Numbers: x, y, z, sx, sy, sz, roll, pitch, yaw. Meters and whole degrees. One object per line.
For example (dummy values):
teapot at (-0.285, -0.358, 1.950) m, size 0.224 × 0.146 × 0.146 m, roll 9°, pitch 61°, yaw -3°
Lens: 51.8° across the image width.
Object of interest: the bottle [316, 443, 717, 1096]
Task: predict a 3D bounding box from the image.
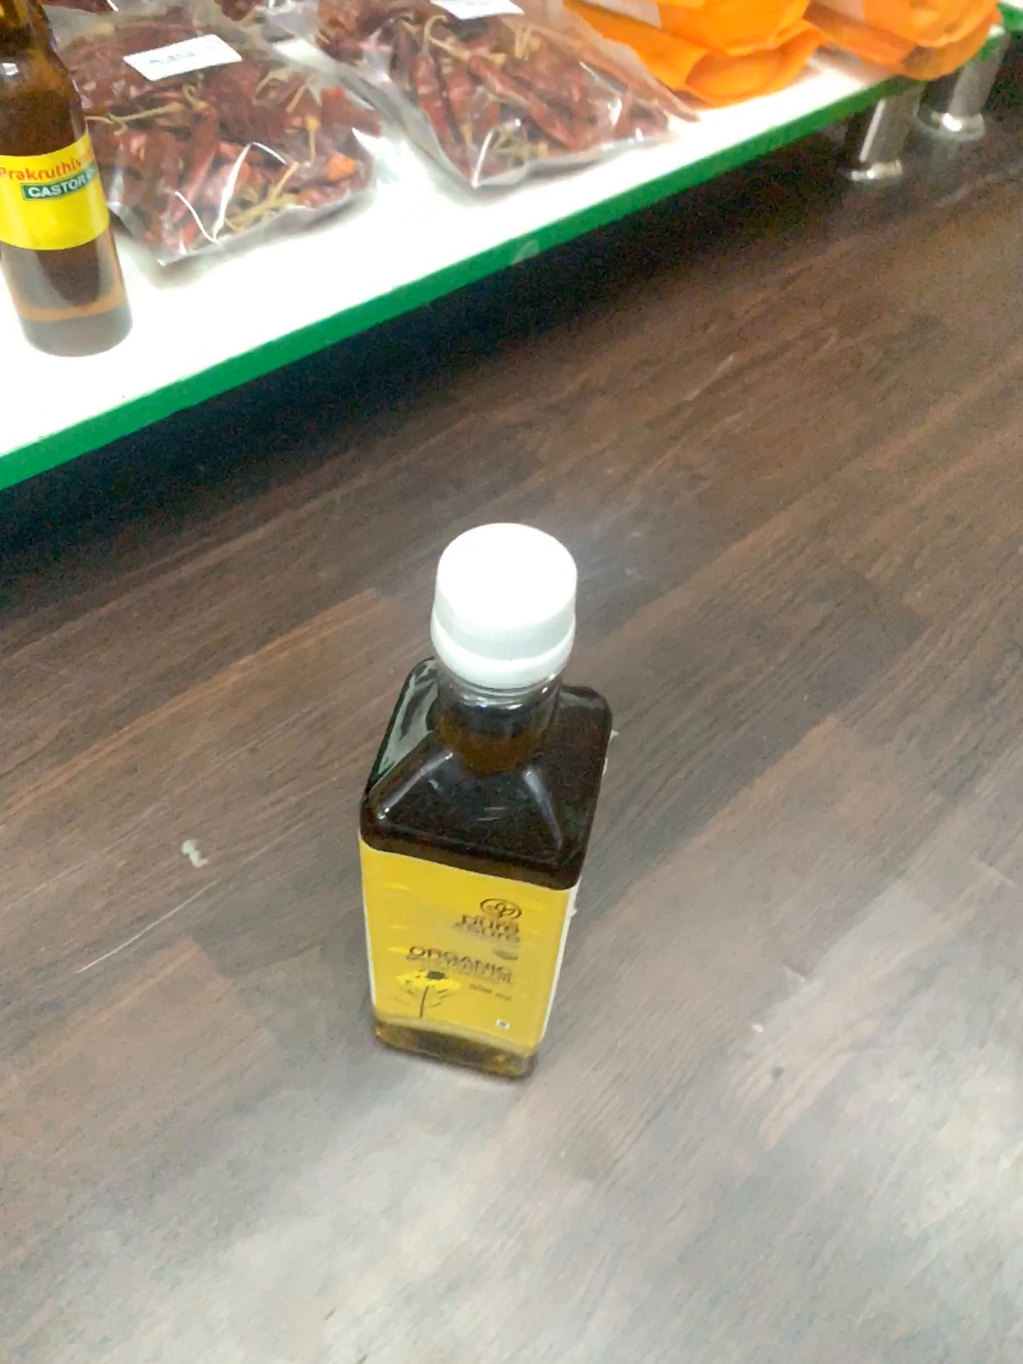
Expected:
bottle at (-0.003, 0.043, 0.293) m, size 0.070 × 0.209 × 0.060 m, roll 12°, pitch 51°, yaw 5°
